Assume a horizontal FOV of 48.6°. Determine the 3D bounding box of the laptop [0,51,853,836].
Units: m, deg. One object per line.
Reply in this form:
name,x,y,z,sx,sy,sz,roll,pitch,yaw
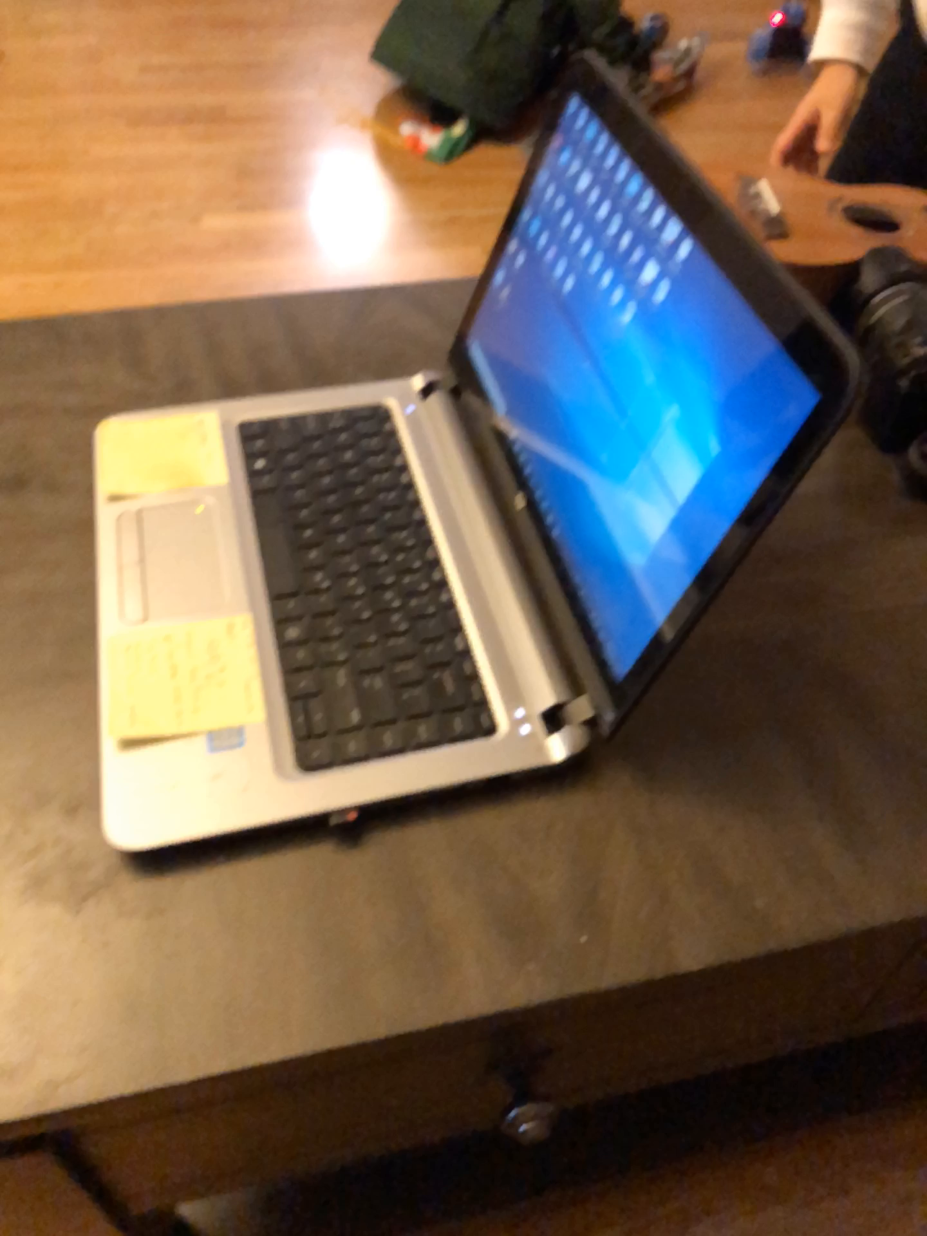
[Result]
laptop,-0.046,-0.111,0.531,0.306,0.208,0.321,-10,49,-10
